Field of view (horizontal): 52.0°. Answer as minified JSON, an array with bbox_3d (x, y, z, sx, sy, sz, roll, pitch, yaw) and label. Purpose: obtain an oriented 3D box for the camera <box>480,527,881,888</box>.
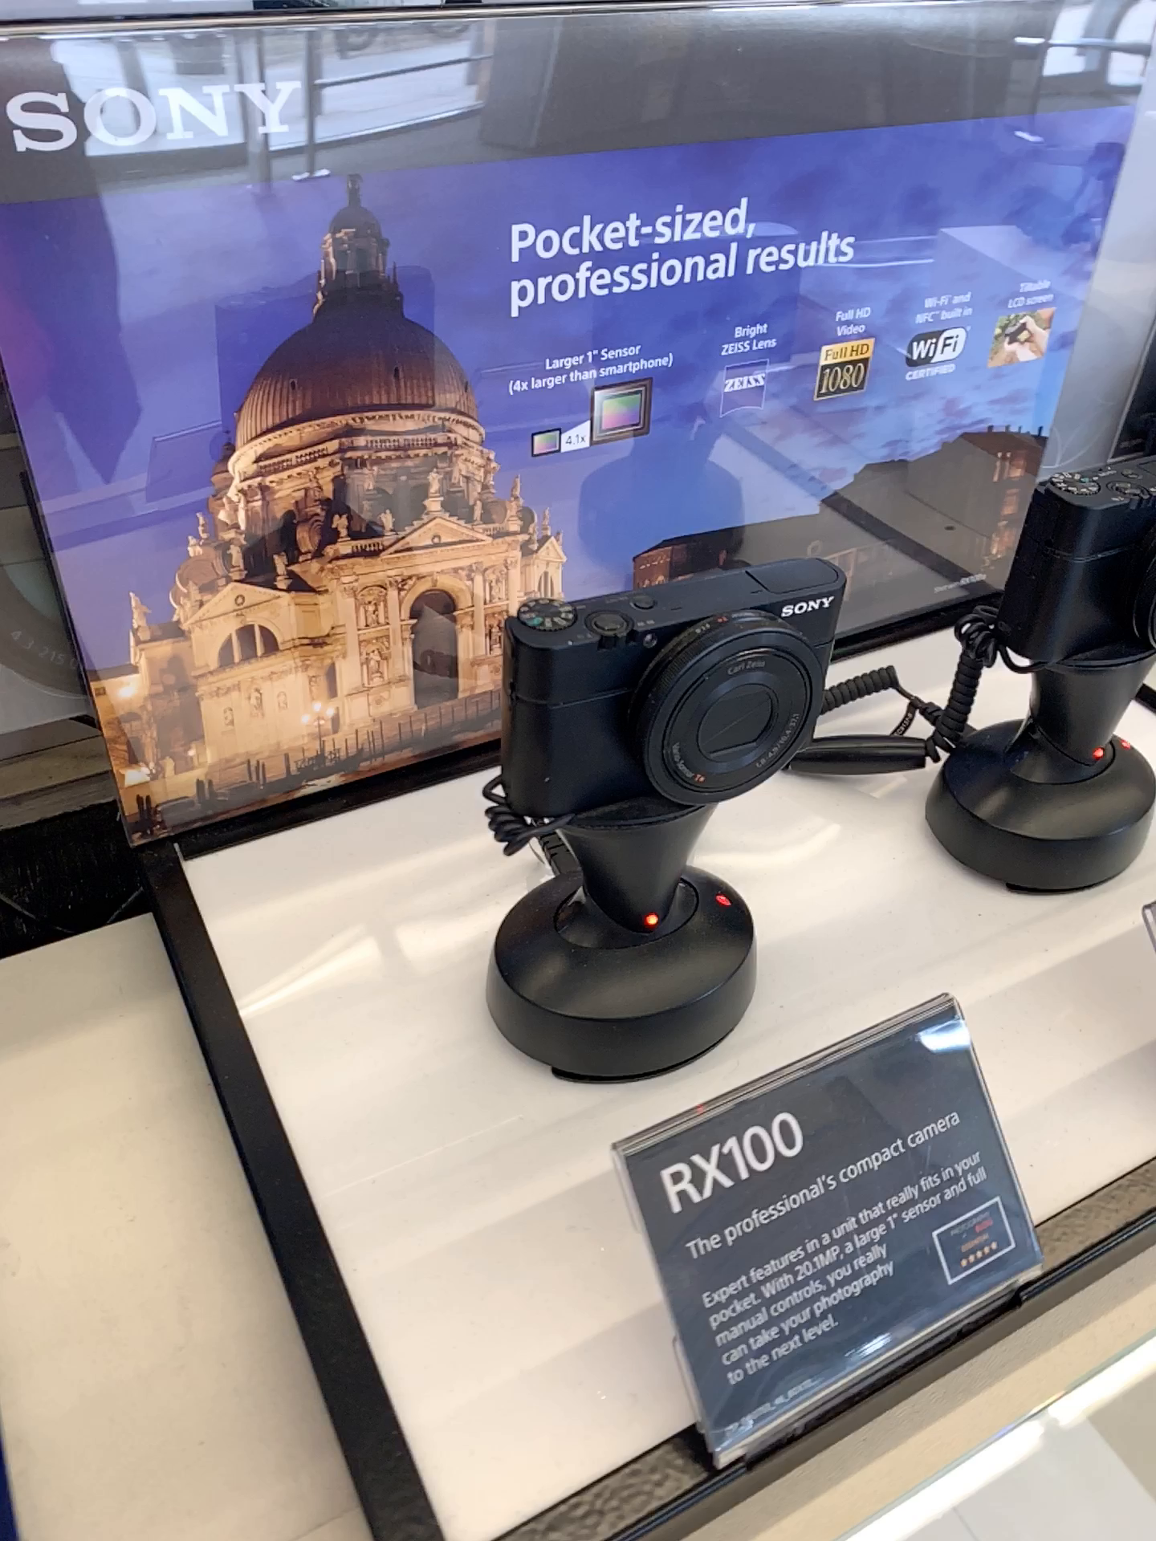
[{"bbox_3d":[0.027,-0.020,0.336,0.100,0.069,0.040,-16,42,-22],"label":"camera"}]
